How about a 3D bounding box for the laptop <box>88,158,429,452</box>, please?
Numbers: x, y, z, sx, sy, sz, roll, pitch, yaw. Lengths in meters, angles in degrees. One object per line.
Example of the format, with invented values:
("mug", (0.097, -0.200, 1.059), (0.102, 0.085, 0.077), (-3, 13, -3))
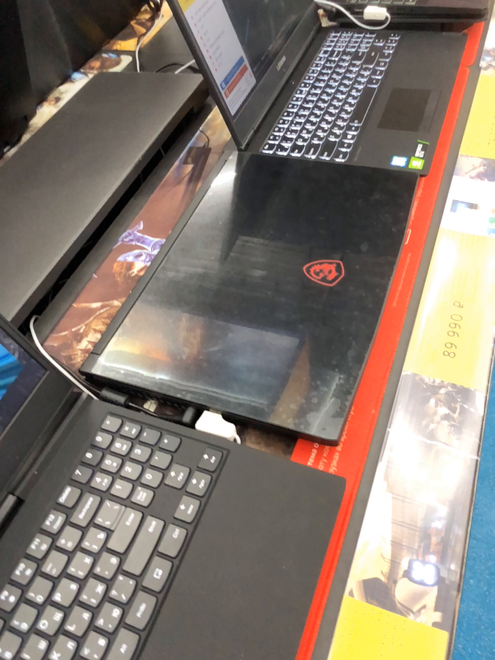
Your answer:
("laptop", (0.030, -0.062, 0.556), (0.239, 0.002, 0.354), (12, 54, 19))
